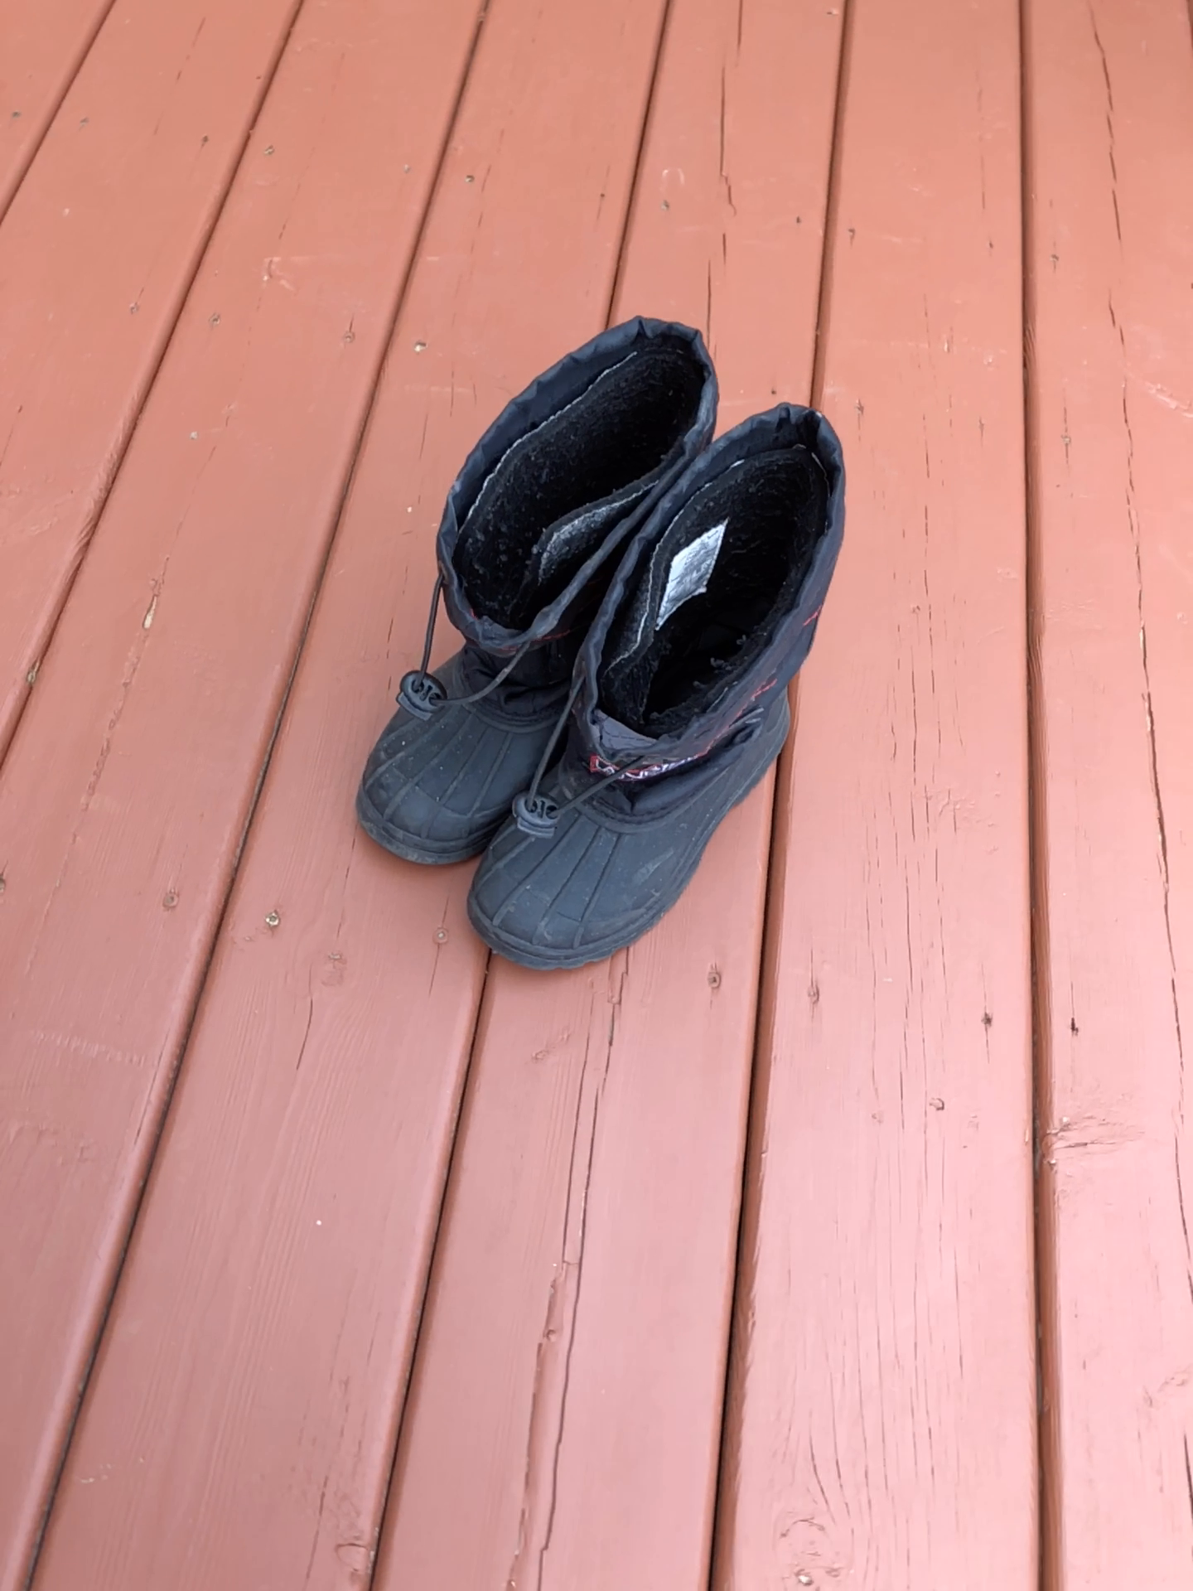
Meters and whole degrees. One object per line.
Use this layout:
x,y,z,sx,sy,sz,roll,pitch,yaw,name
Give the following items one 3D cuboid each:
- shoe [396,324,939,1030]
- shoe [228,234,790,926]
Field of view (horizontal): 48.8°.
0.027,-0.040,0.589,0.100,0.230,0.210,34,66,14,shoe
-0.033,-0.087,0.607,0.100,0.230,0.210,38,67,16,shoe
